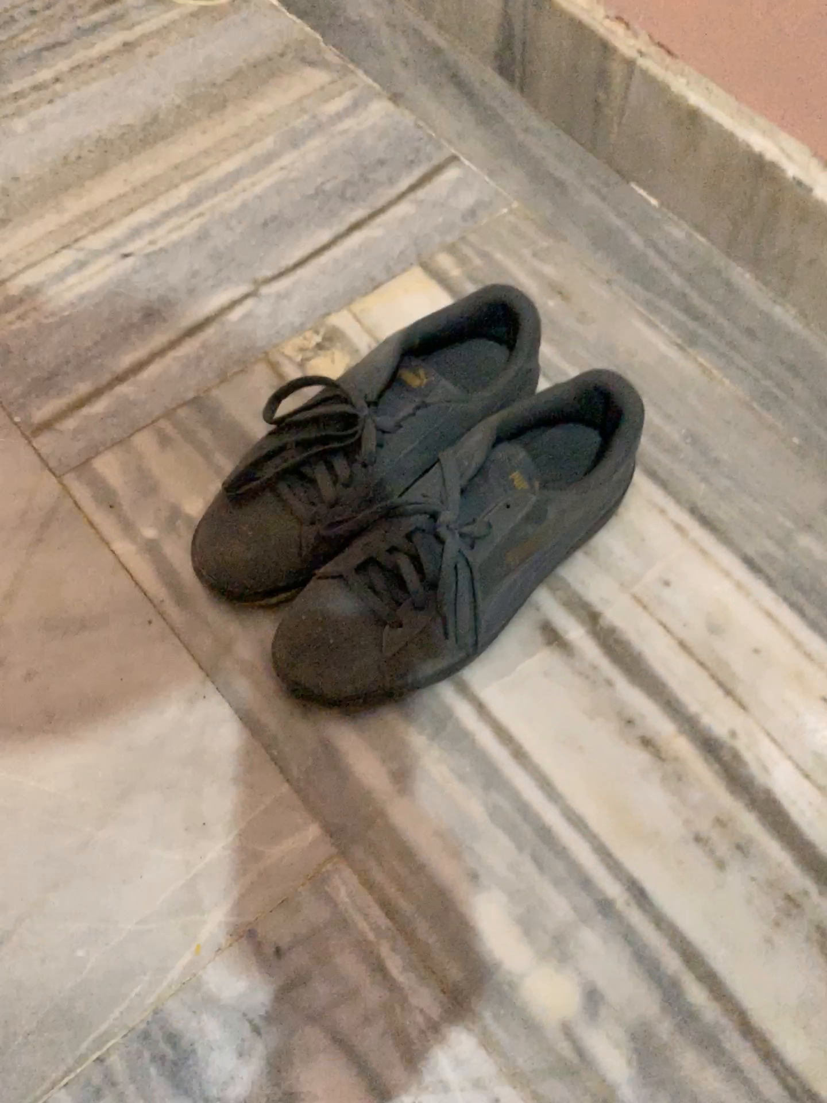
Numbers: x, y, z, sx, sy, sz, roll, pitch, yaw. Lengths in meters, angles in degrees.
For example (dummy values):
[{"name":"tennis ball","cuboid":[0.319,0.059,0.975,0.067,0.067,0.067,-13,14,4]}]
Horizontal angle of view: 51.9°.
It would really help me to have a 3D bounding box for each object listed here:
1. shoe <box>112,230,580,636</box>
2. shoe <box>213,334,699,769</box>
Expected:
[{"name":"shoe","cuboid":[-0.038,-0.085,0.586,0.289,0.100,0.110,-36,72,-17]},{"name":"shoe","cuboid":[0.030,-0.003,0.555,0.289,0.100,0.110,-36,72,-17]}]
